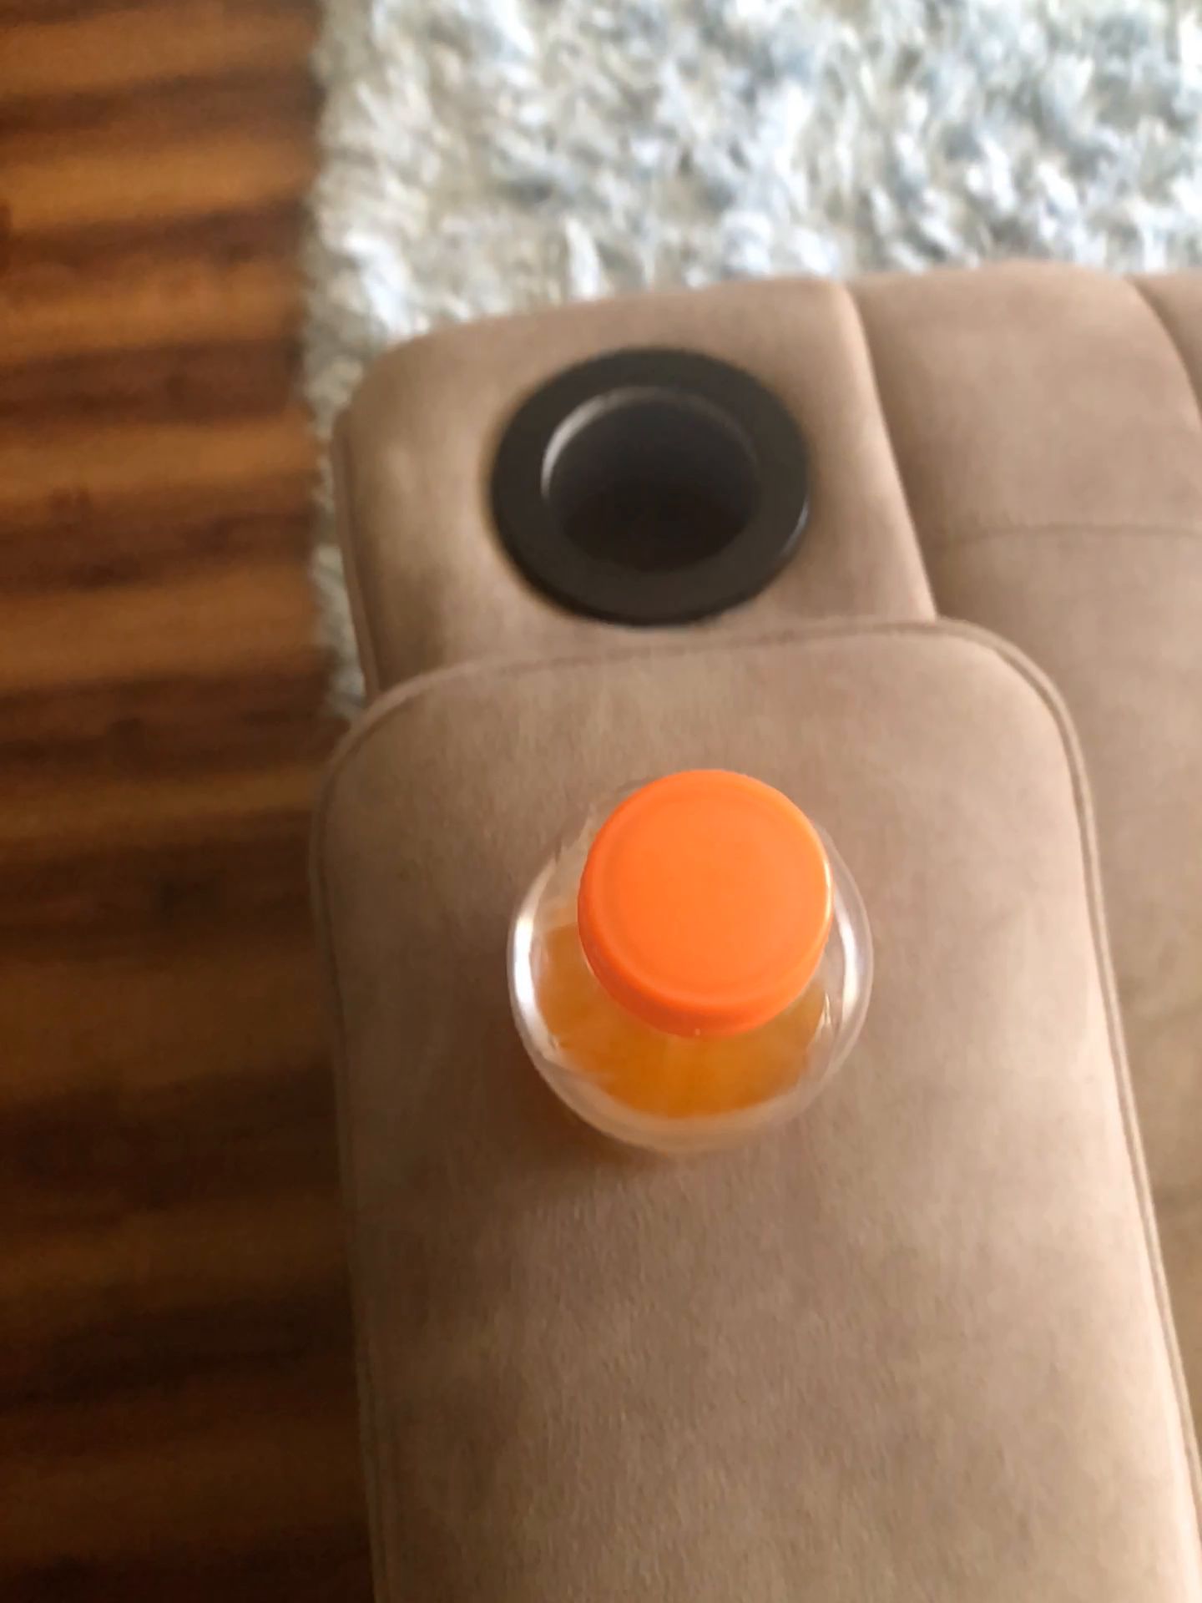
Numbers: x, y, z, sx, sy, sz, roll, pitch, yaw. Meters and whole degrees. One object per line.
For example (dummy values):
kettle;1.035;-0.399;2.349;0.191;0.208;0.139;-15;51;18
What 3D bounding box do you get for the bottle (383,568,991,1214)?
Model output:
bottle;0.015;0.031;0.263;0.070;0.150;0.070;0;70;0
